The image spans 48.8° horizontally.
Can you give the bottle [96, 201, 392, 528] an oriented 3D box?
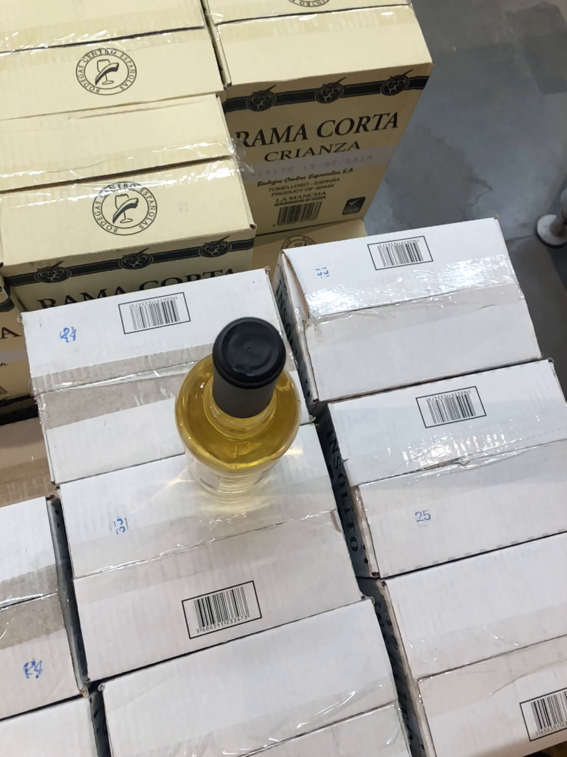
[{"bbox_3d":[-0.032,0.023,0.387,0.090,0.299,0.090,2,73,-6],"label":"bottle"}]
